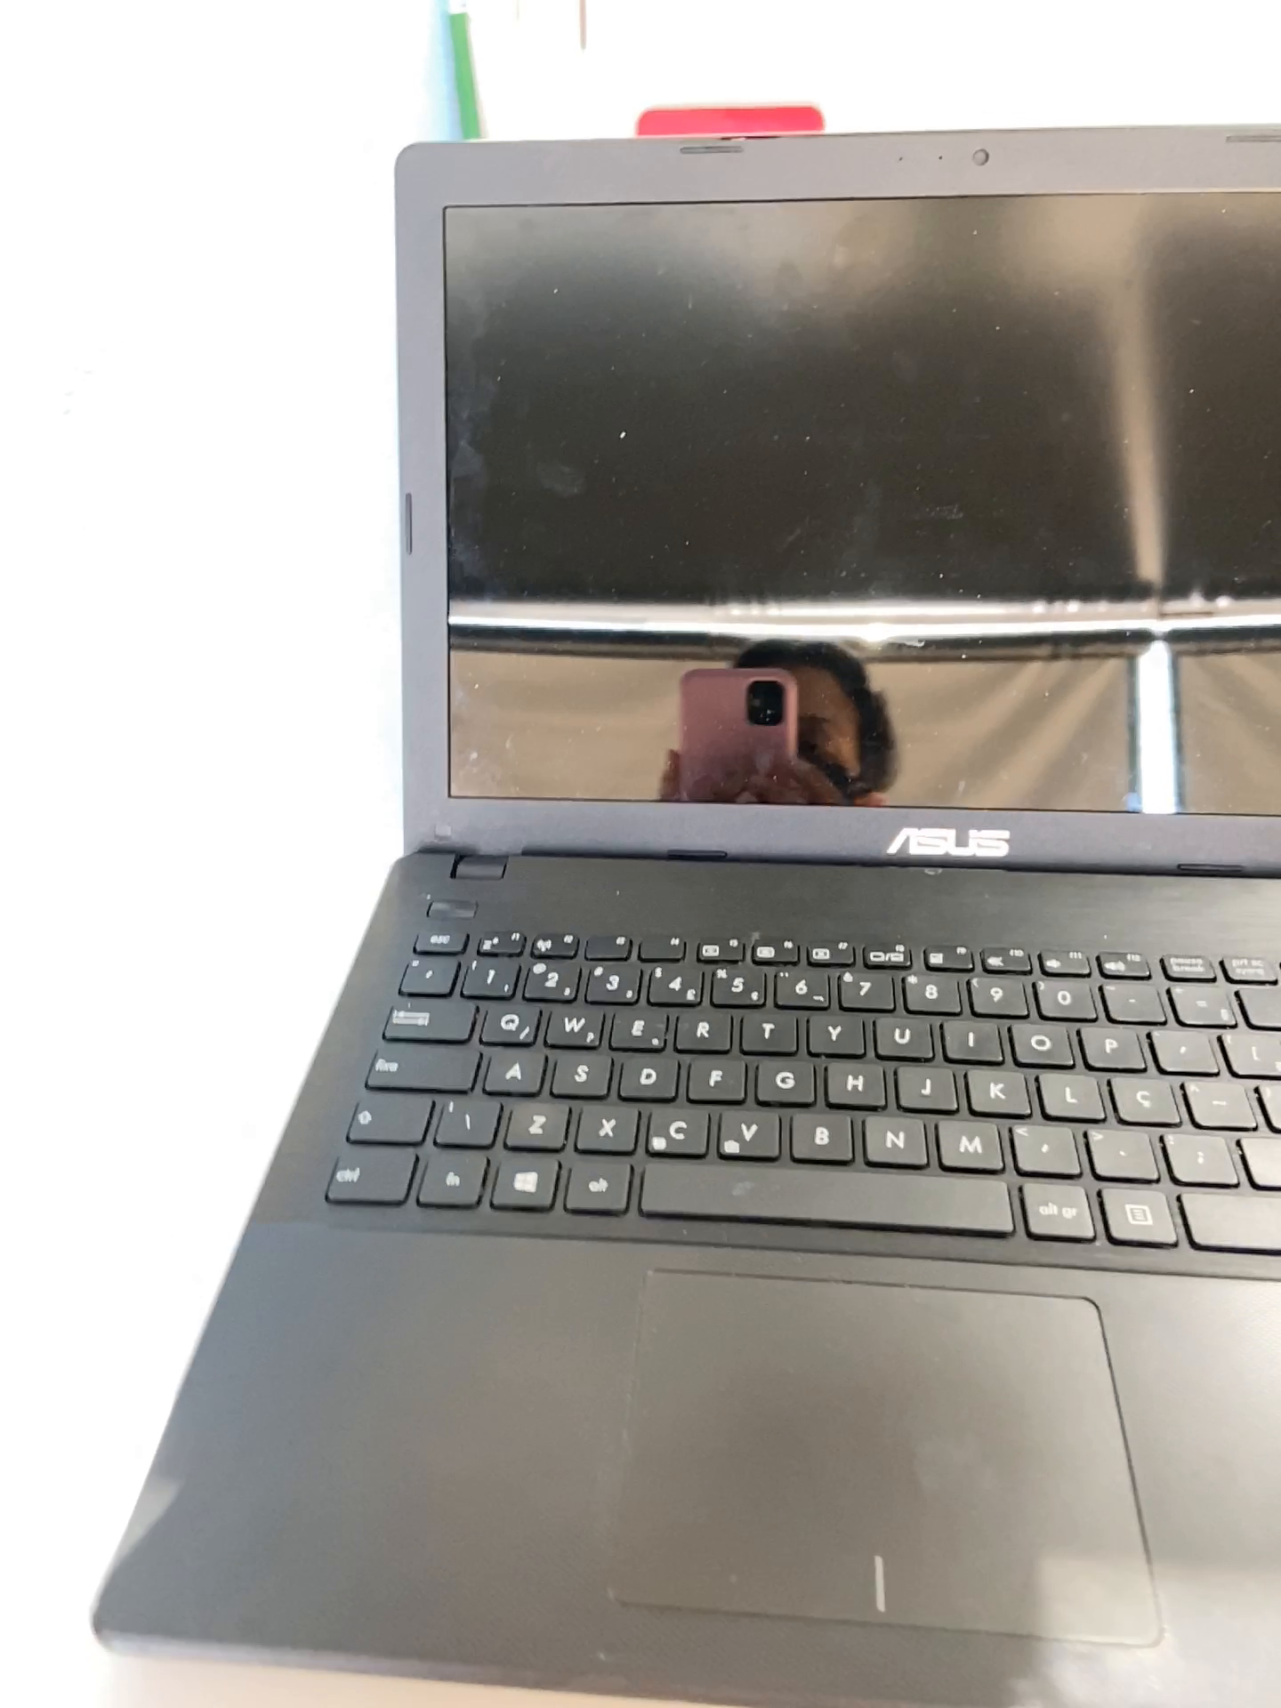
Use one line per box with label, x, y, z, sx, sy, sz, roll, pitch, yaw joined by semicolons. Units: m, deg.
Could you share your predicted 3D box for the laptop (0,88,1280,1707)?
laptop;0.094;-0.038;0.320;0.367;0.200;0.363;1;36;7
